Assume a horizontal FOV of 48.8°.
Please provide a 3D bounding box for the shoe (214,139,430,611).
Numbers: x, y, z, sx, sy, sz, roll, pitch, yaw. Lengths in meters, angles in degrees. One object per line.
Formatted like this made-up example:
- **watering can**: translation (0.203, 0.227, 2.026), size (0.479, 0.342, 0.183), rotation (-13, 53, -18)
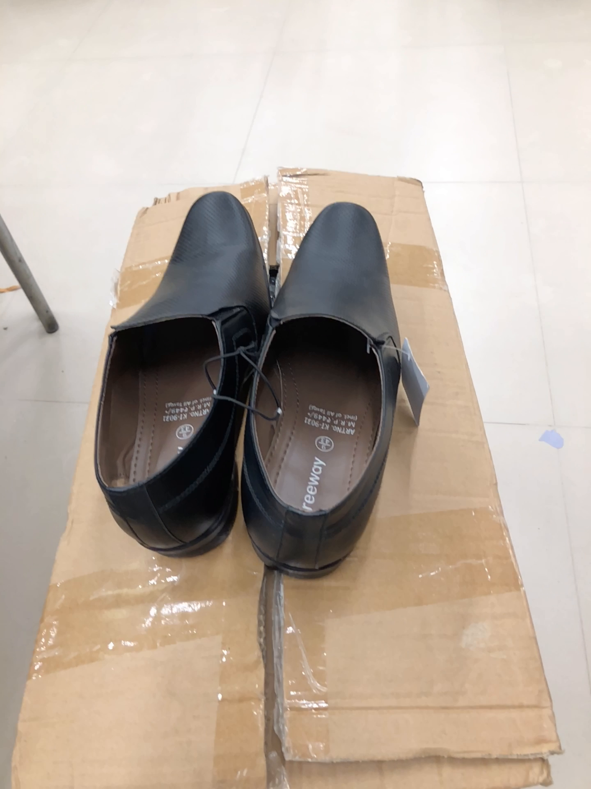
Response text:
- **shoe**: translation (0.029, -0.036, 0.438), size (0.100, 0.099, 0.322), rotation (4, 52, 5)

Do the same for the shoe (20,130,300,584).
- **shoe**: translation (-0.067, -0.043, 0.452), size (0.100, 0.100, 0.322), rotation (-4, 51, 12)
